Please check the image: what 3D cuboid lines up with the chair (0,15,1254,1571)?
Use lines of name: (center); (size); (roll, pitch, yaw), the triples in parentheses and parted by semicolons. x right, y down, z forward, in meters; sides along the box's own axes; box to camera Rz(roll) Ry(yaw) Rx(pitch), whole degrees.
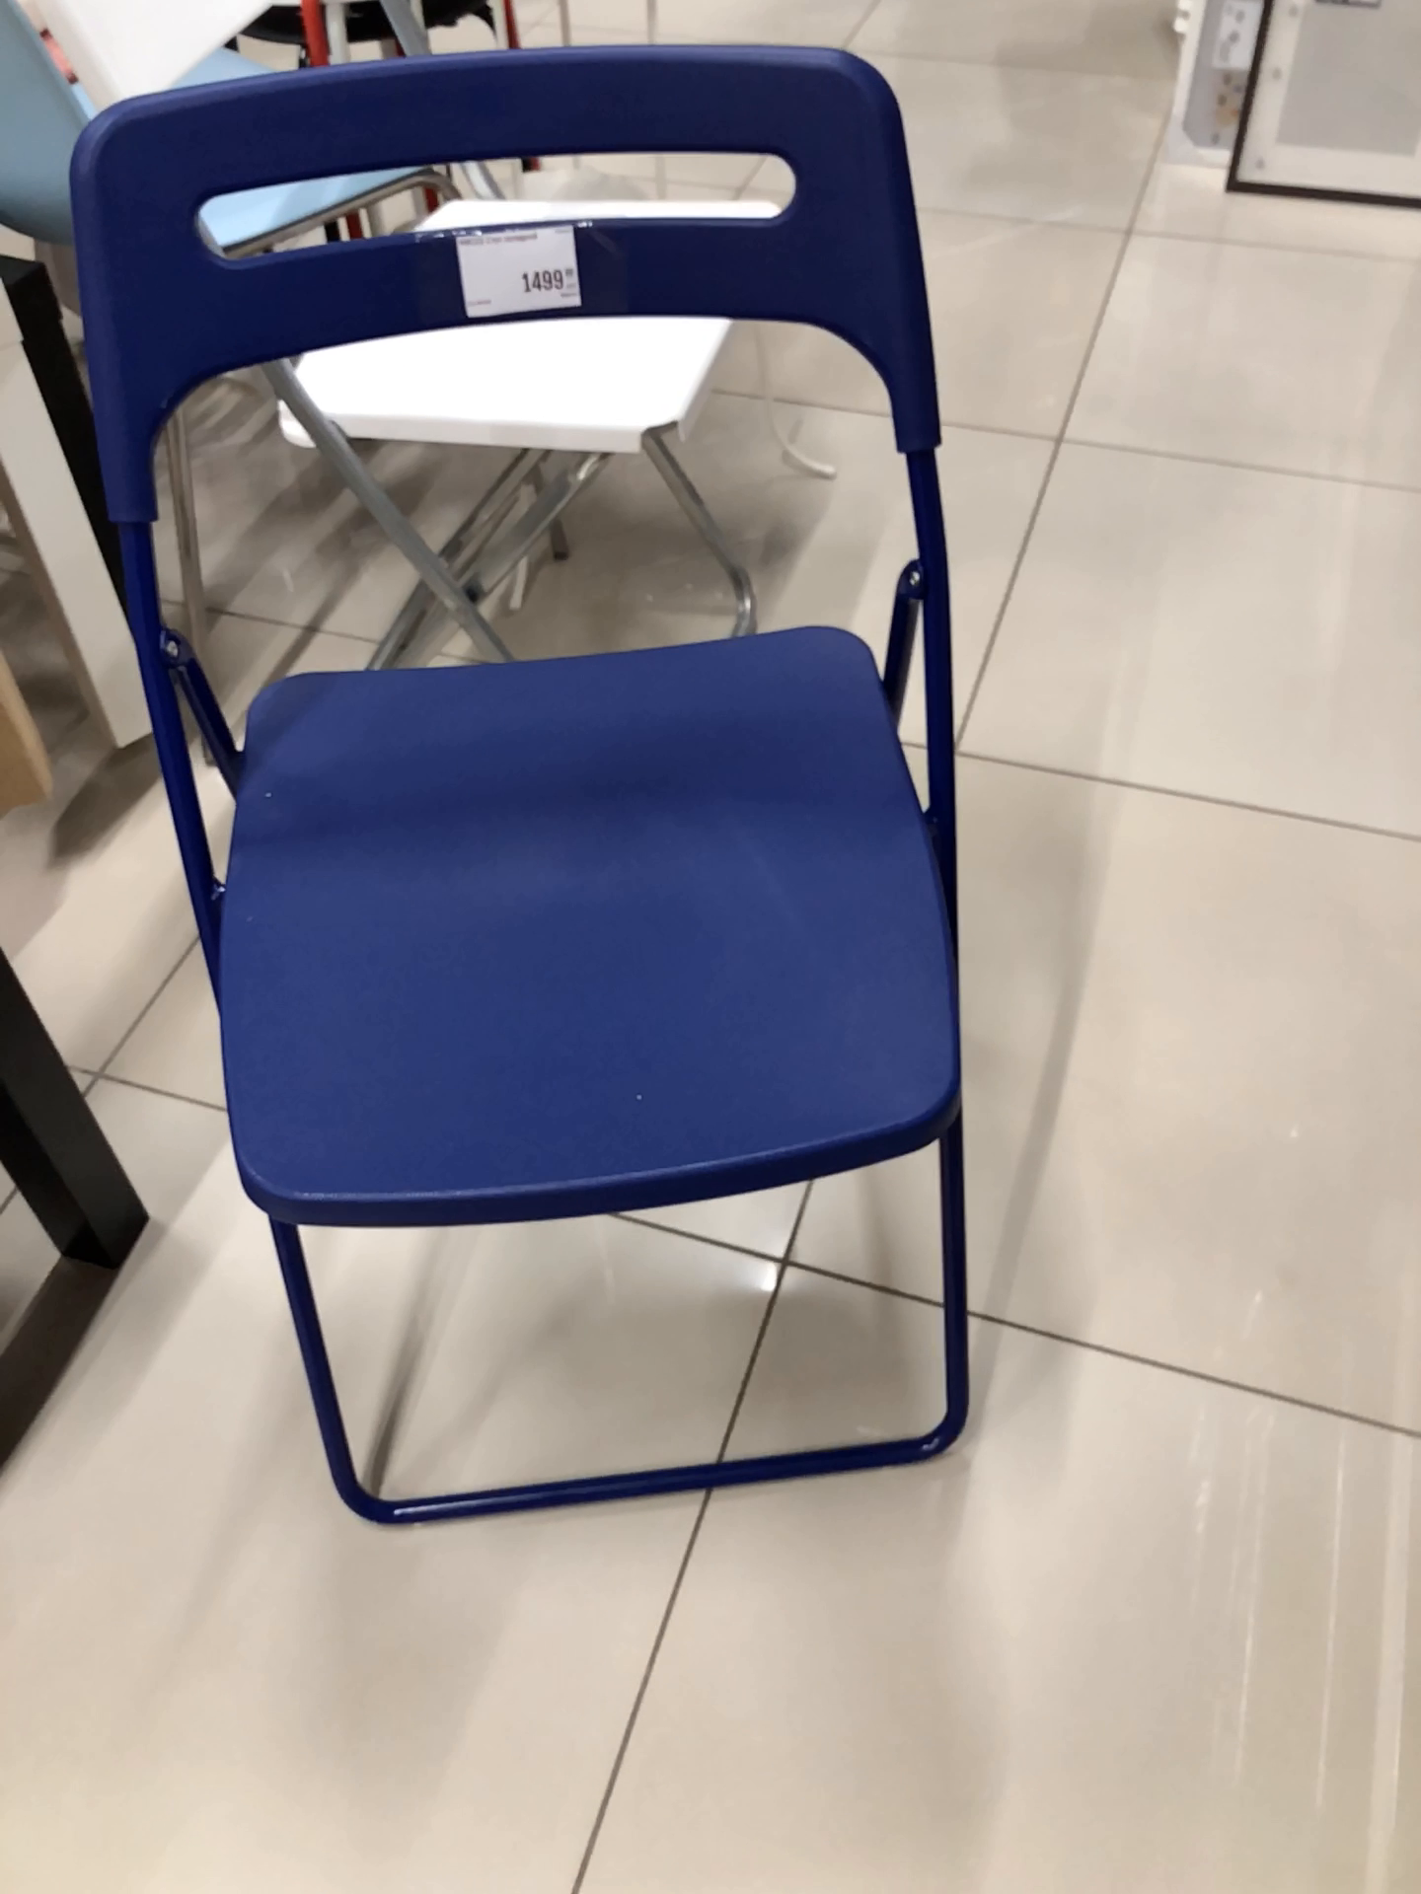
chair: (-0.071, -0.040, 0.880); (0.450, 0.705, 0.468); (-6, 48, -3)
